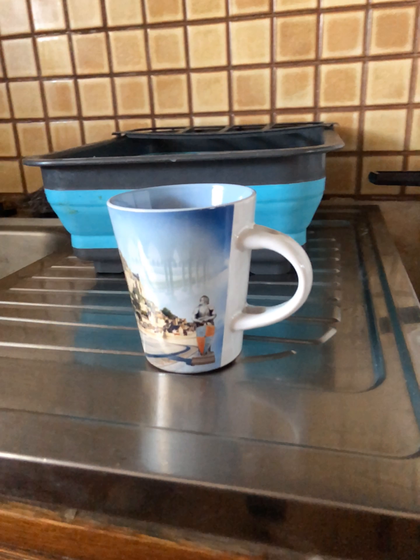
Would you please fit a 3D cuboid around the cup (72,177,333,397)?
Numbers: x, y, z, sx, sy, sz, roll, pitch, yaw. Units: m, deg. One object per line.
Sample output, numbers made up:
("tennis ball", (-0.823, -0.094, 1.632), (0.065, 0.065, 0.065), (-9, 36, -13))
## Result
("cup", (0.003, -0.007, 0.297), (0.130, 0.100, 0.101), (6, 22, 21))
